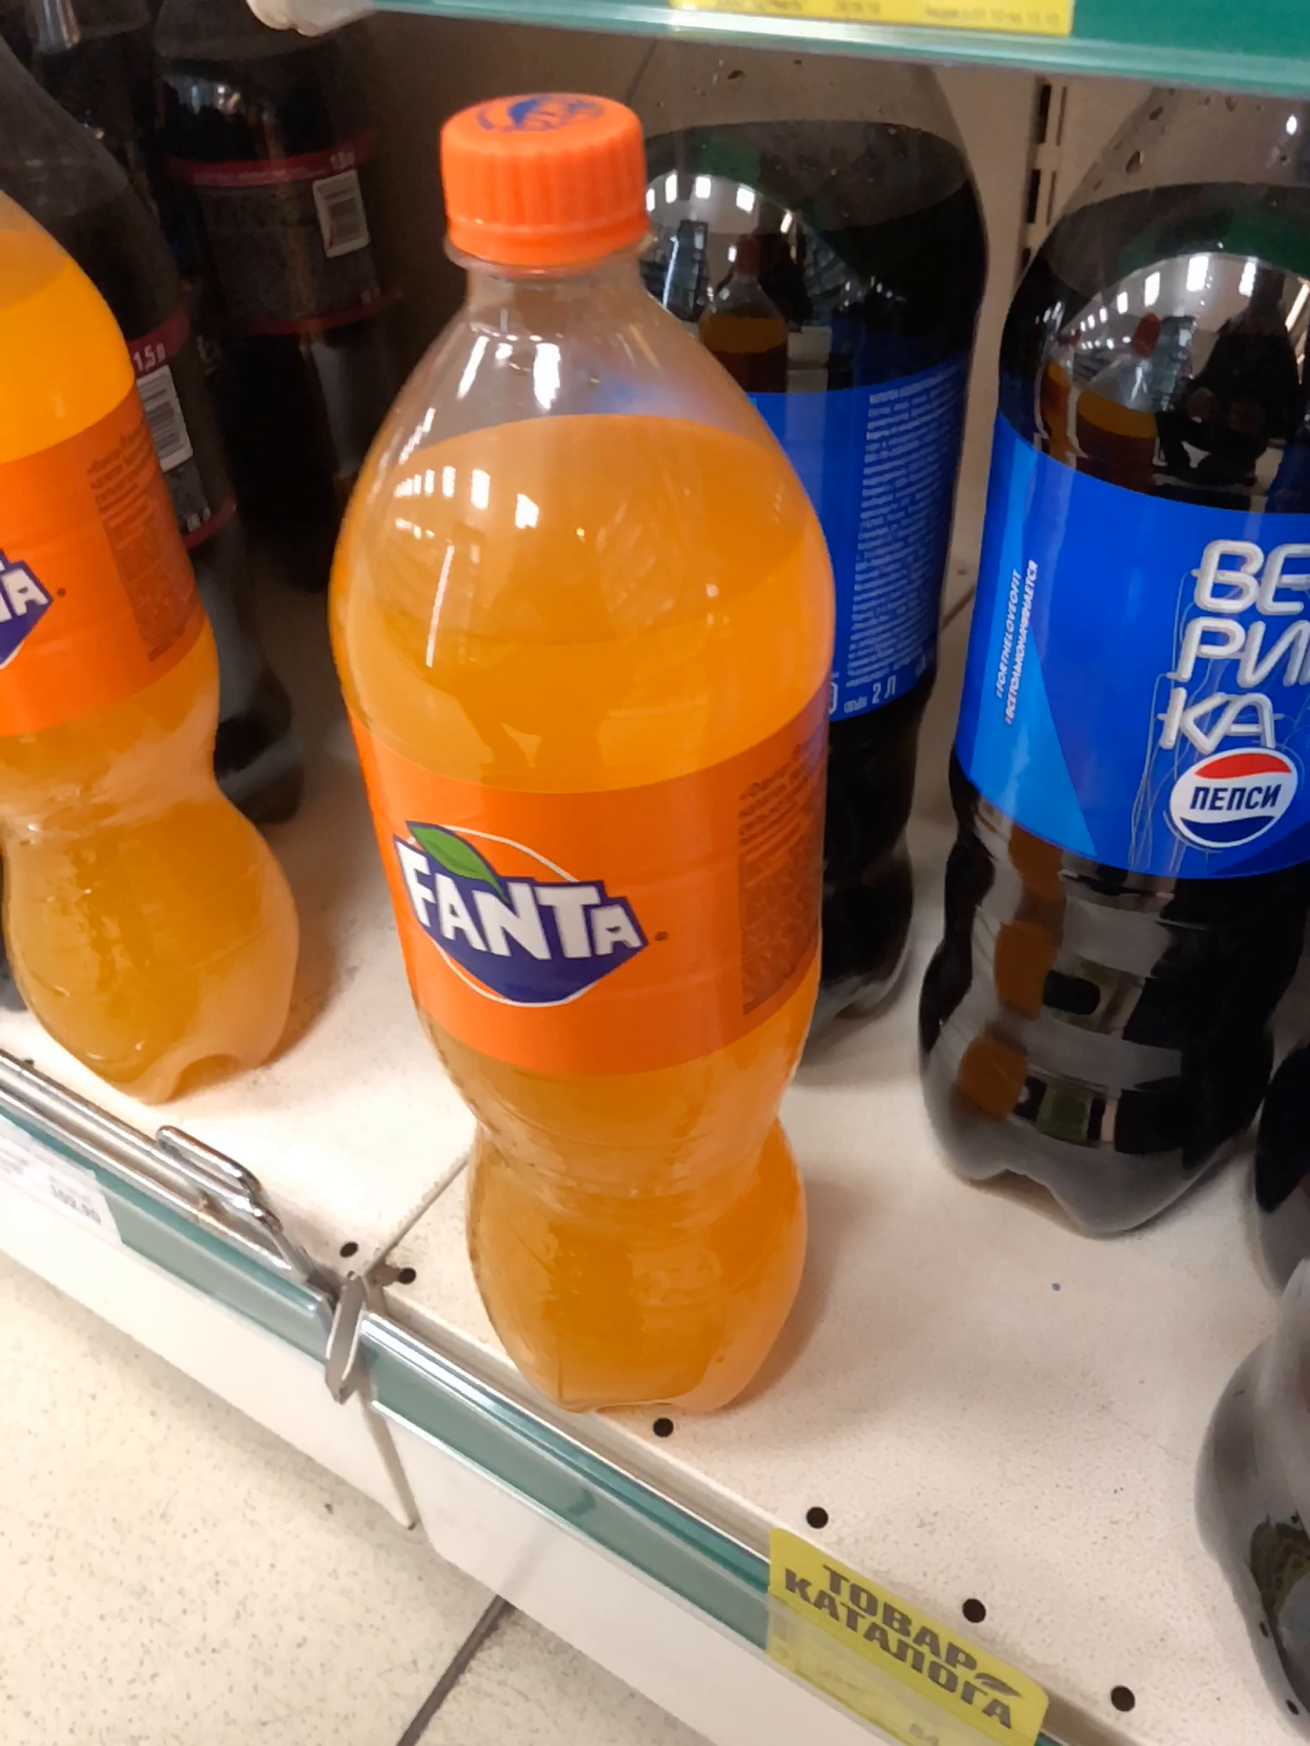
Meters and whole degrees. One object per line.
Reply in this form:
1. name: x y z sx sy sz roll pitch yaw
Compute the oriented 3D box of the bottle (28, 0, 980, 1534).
1. bottle: -0.010 0.006 0.305 0.100 0.308 0.090 18 46 23
